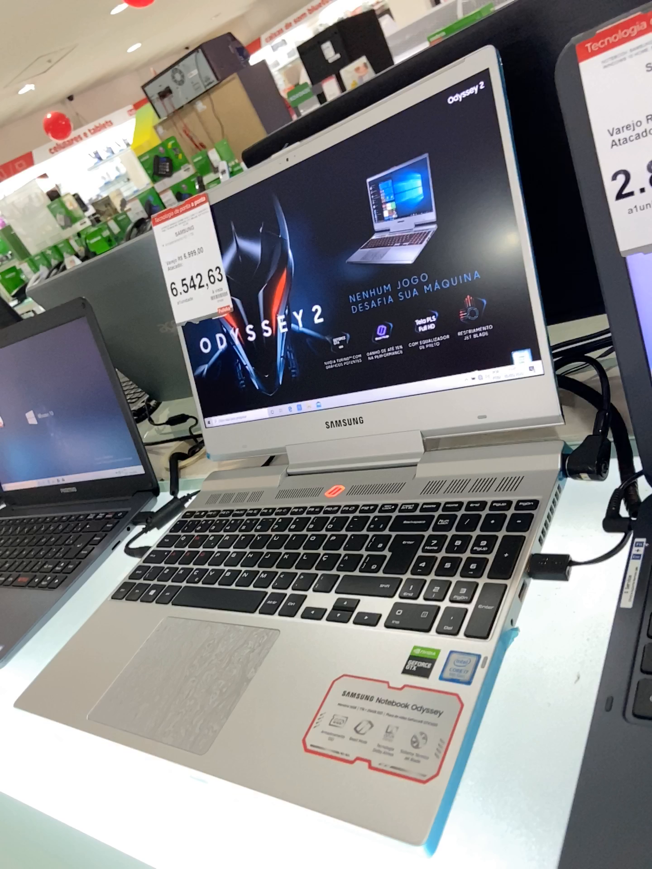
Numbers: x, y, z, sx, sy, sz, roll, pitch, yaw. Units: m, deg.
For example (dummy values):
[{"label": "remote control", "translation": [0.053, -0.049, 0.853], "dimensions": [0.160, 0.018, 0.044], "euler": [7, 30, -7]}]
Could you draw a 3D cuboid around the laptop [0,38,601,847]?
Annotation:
[{"label": "laptop", "translation": [-0.065, -0.021, 0.450], "dimensions": [0.354, 0.225, 0.369], "euler": [-8, 33, 40]}]
